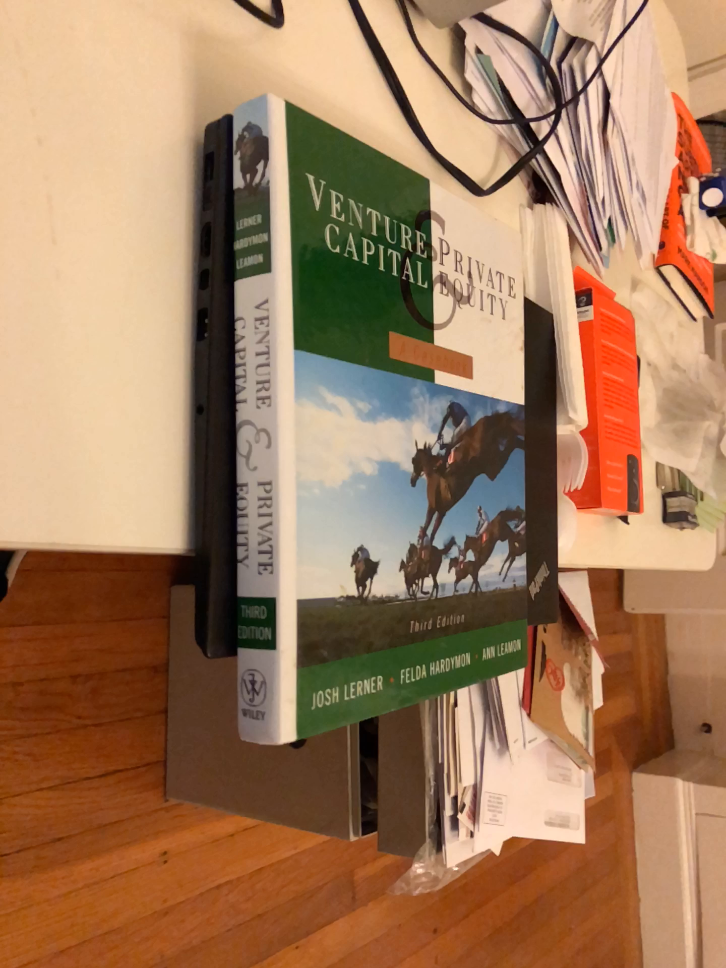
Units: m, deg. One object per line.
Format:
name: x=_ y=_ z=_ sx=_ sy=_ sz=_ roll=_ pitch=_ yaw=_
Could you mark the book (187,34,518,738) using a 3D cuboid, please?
book: x=0.009 y=-0.036 z=0.400 sx=0.221 sy=0.030 sz=0.270 roll=4 pitch=83 yaw=-53
